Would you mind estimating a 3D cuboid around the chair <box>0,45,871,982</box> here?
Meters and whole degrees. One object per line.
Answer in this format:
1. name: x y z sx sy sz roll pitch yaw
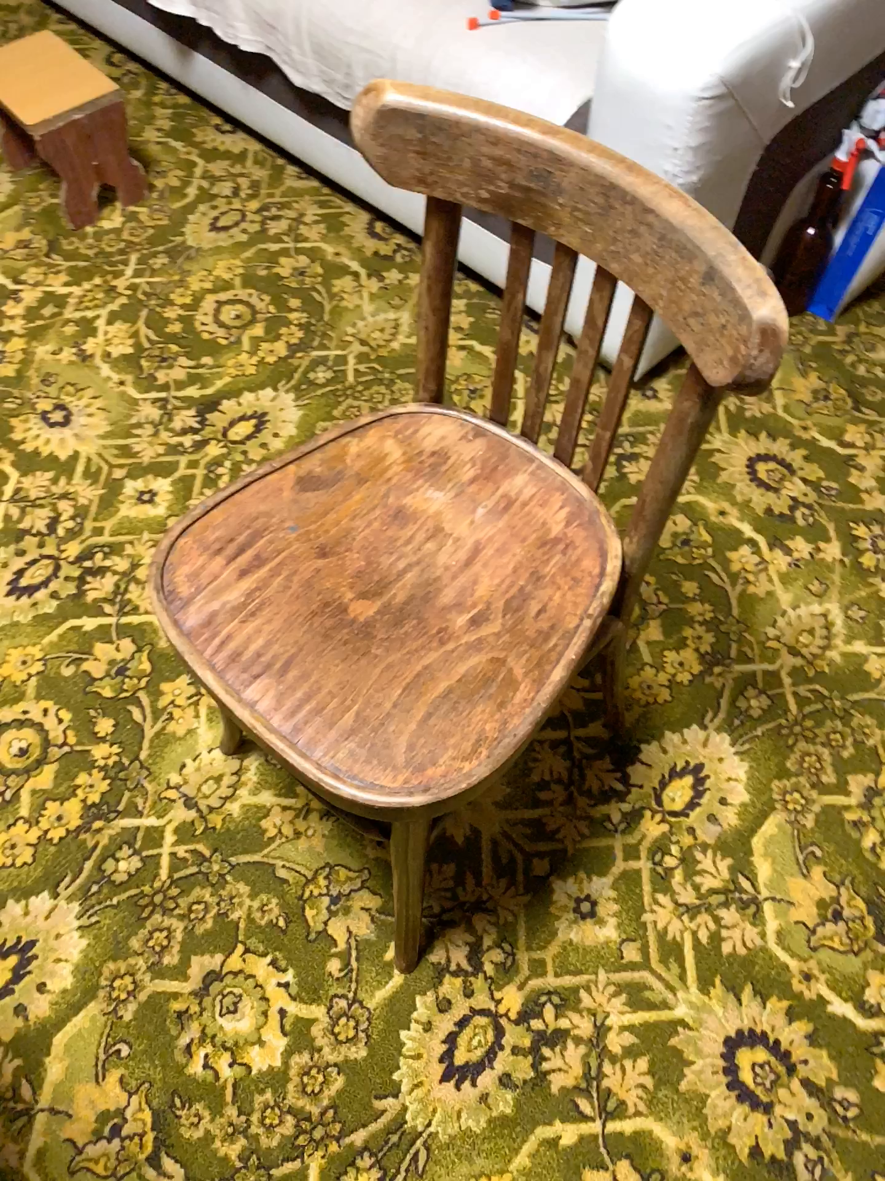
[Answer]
1. chair: -0.022 0.006 0.869 0.411 0.735 0.401 -38 65 -21
